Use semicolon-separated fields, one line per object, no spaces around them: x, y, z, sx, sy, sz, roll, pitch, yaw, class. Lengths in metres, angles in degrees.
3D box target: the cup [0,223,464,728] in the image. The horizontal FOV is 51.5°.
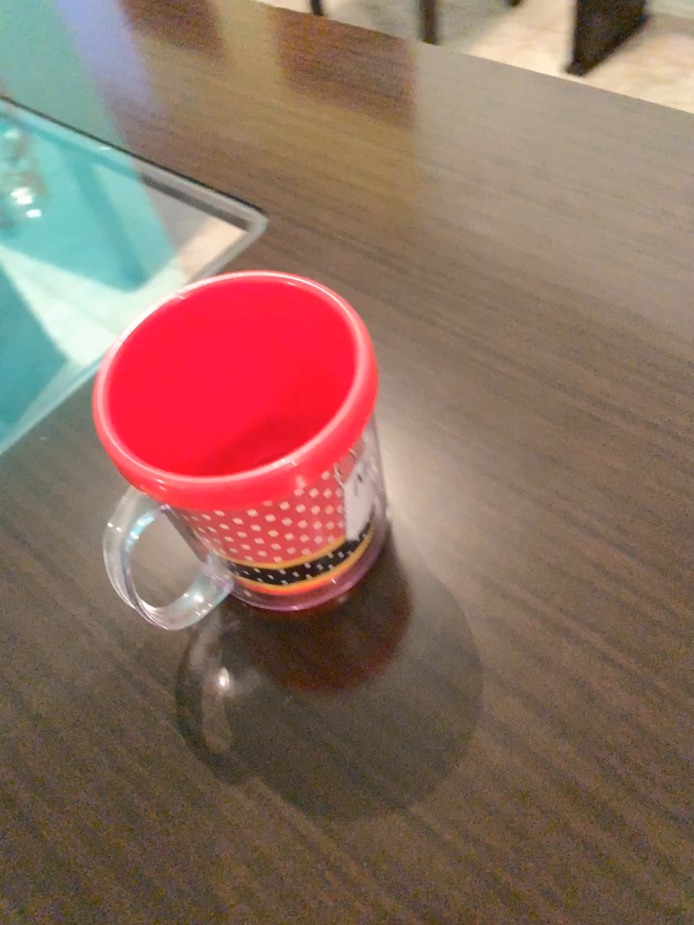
-0.029;0.005;0.264;0.090;0.110;0.120;29;65;26;cup
